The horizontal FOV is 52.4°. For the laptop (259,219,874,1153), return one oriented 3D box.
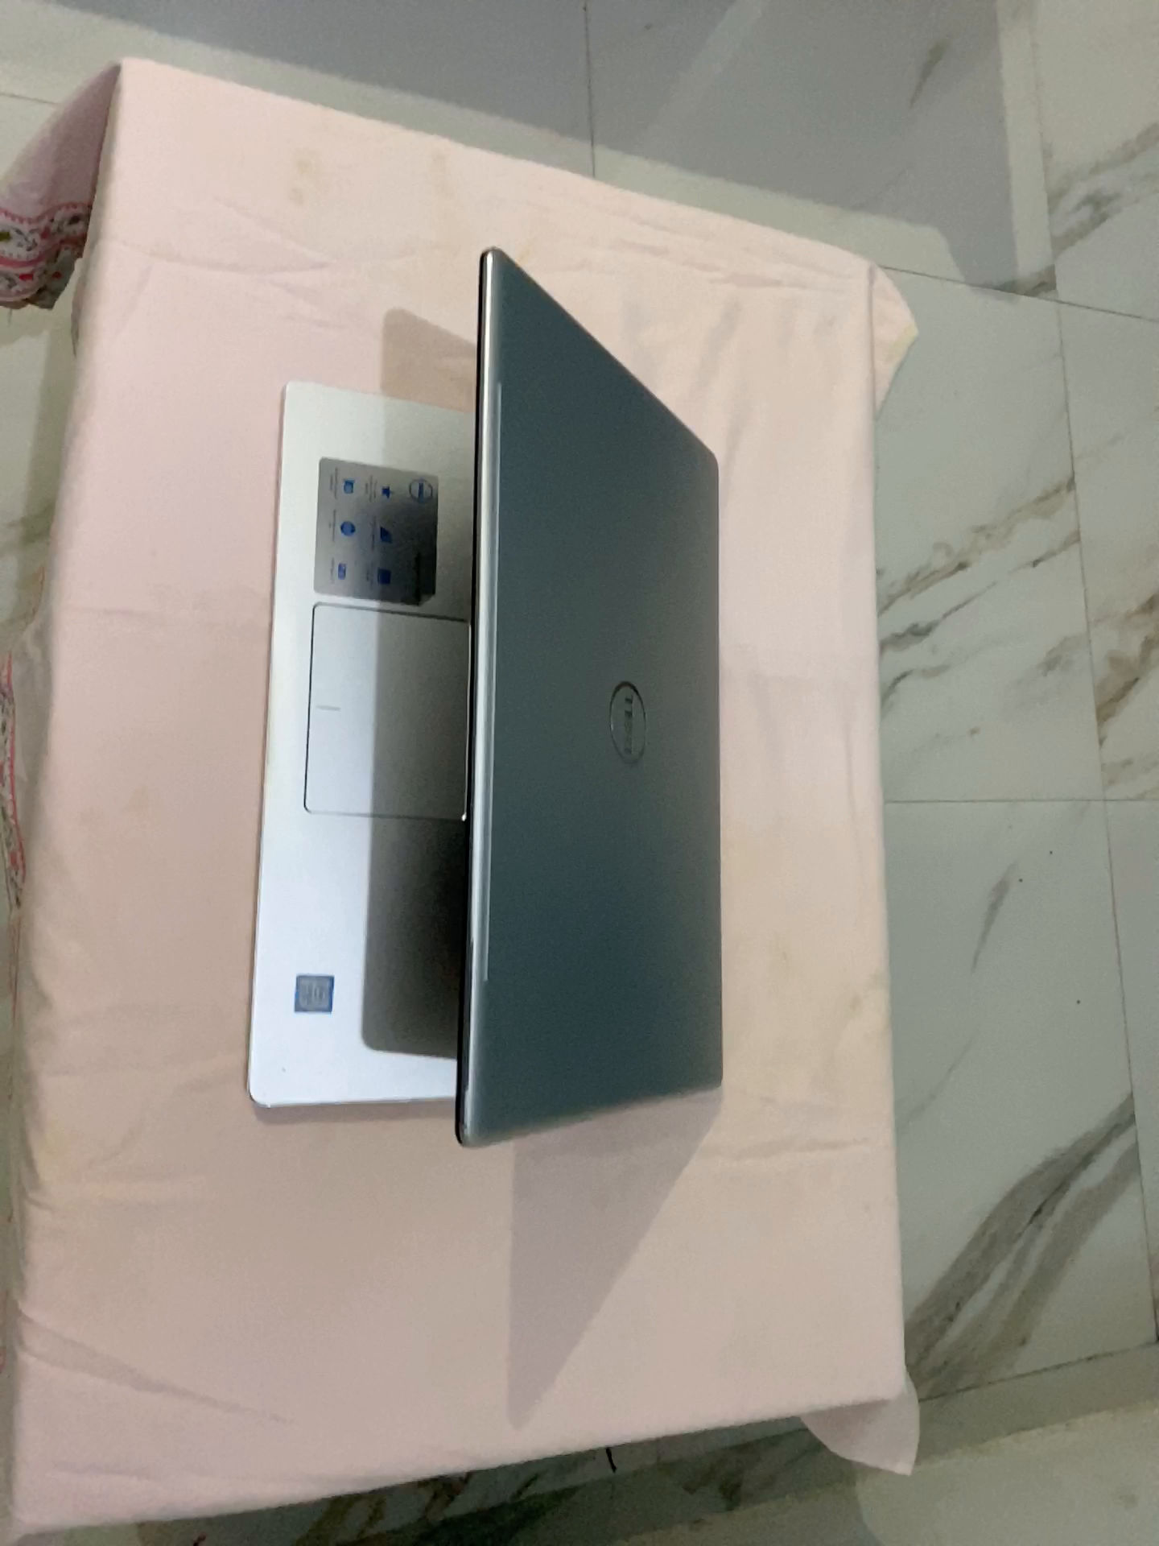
[{"bbox_3d":[-0.012,-0.024,0.543,0.235,0.149,0.347,4,82,-22],"label":"laptop"}]
